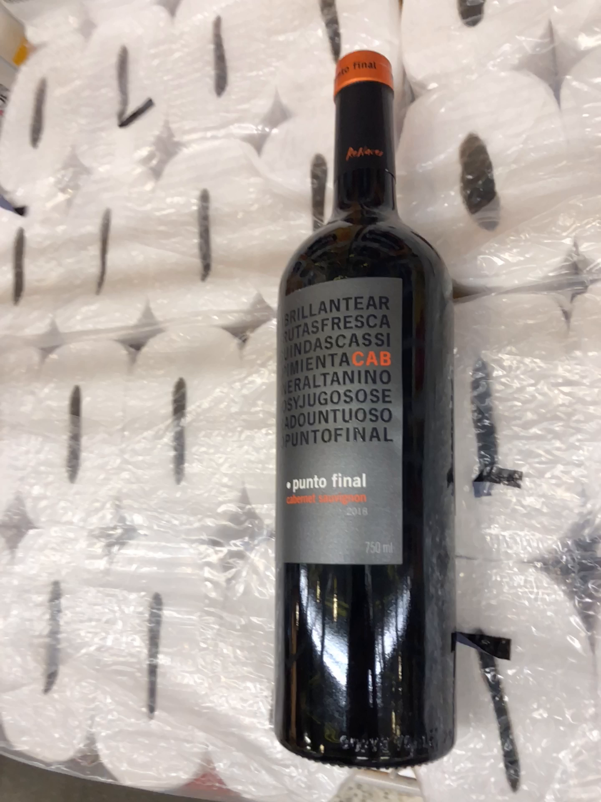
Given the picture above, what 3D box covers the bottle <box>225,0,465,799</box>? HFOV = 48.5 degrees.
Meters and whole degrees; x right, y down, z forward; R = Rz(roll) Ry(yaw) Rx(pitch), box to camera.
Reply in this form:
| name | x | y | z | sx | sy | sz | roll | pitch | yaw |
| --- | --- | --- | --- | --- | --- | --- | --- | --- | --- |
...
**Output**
| name | x | y | z | sx | sy | sz | roll | pitch | yaw |
| --- | --- | --- | --- | --- | --- | --- | --- | --- | --- |
| bottle | 0.022 | -0.022 | 0.278 | 0.070 | 0.060 | 0.310 | -5 | 75 | 24 |
